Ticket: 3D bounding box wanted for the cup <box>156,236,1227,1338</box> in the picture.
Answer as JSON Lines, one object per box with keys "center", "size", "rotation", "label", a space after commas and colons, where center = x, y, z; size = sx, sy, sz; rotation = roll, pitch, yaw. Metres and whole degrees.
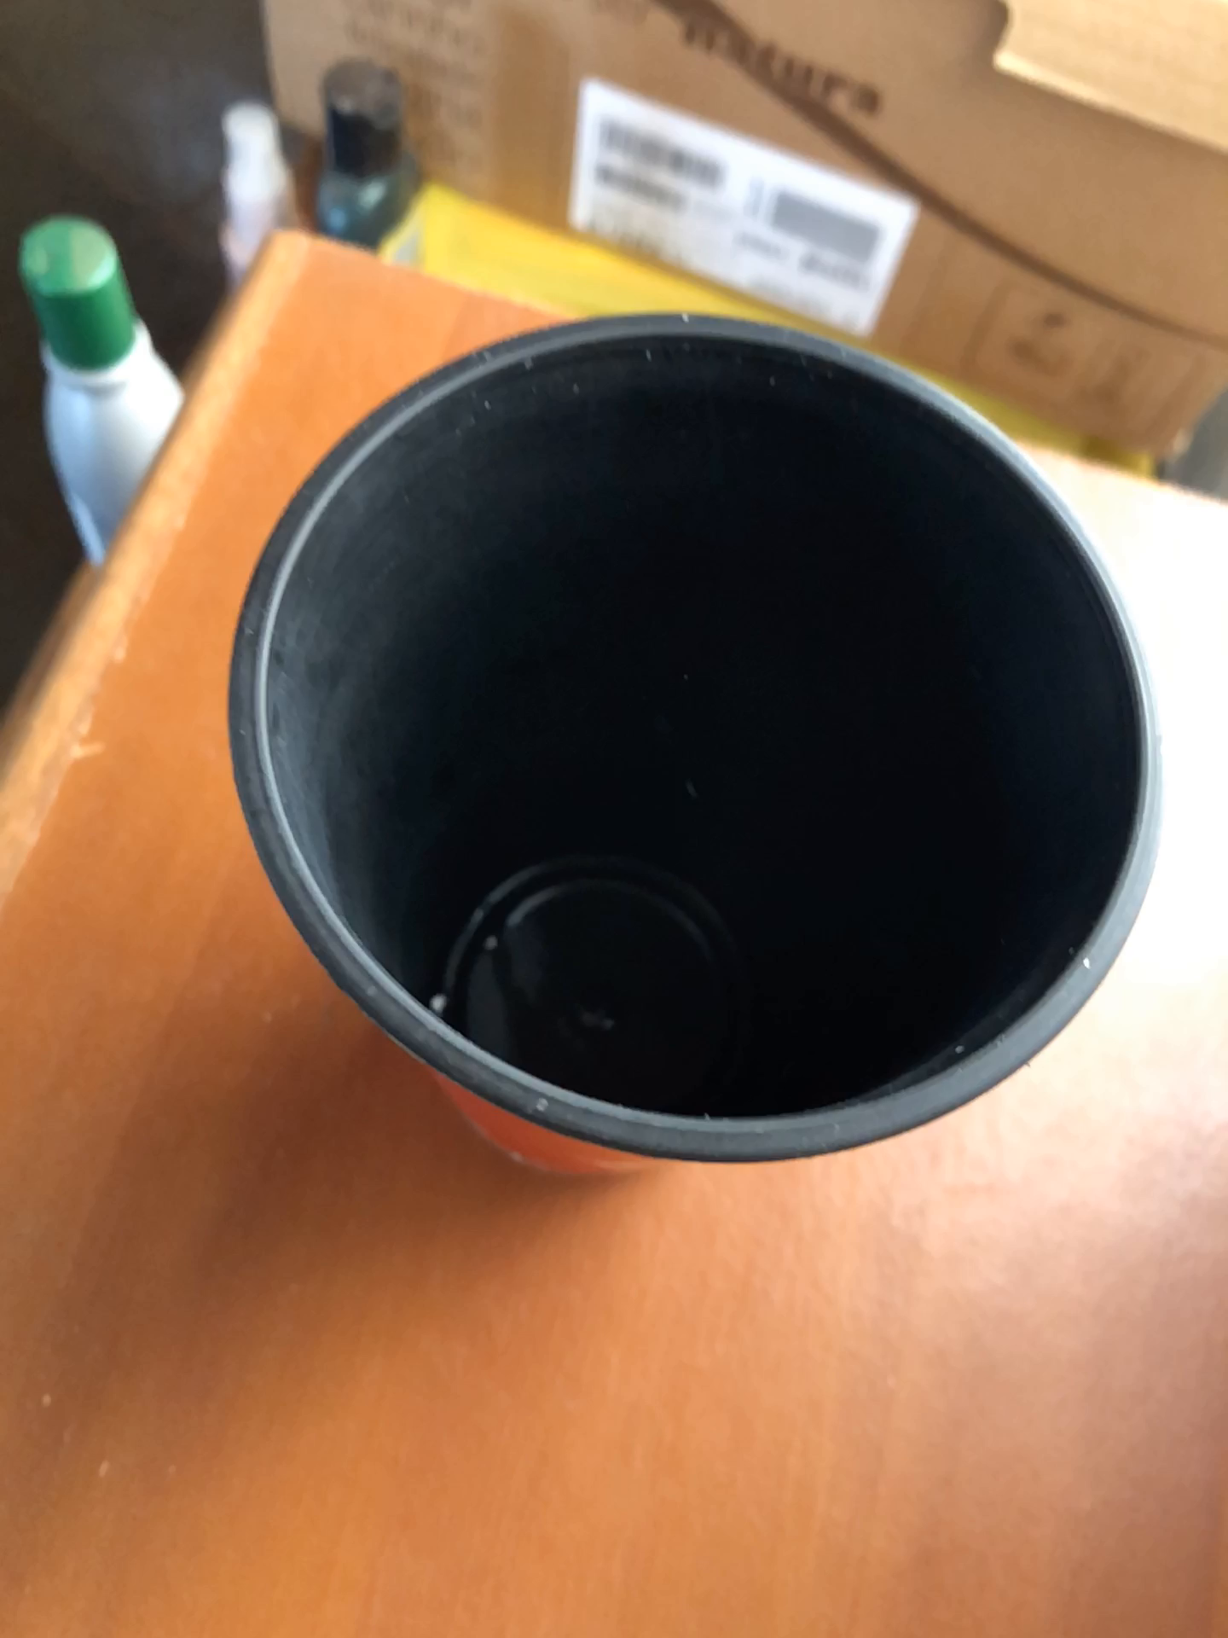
{"center": [0.006, 0.010, 0.204], "size": [0.100, 0.139, 0.090], "rotation": [-16, 70, -14], "label": "cup"}
